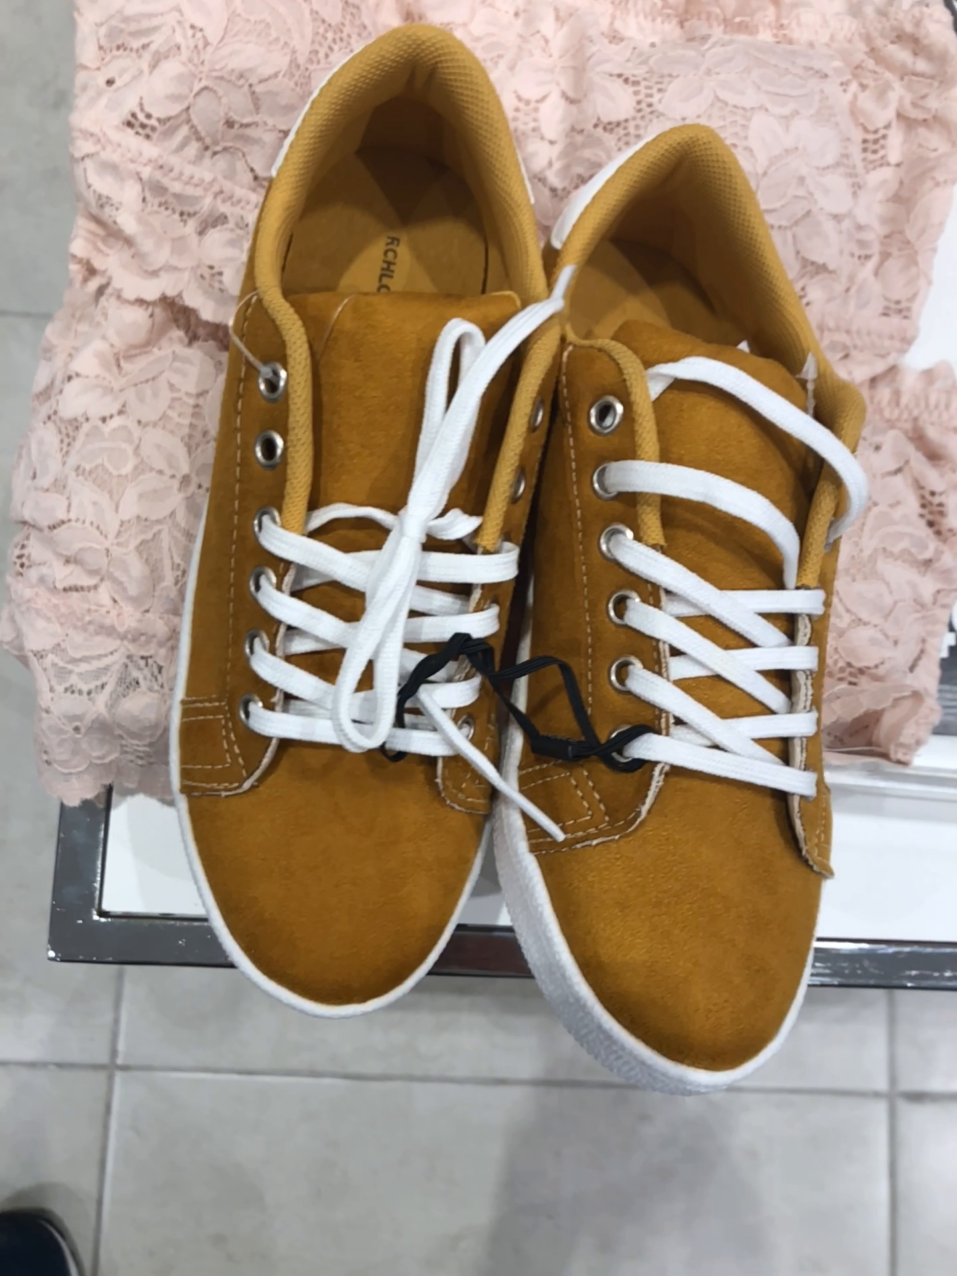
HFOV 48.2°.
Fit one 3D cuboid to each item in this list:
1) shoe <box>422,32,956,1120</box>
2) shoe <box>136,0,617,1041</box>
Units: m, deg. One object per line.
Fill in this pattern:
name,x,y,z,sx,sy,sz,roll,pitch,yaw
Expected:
shoe,0.047,-0.013,0.282,0.100,0.100,0.240,4,72,-17
shoe,-0.027,-0.032,0.272,0.090,0.100,0.240,6,76,-17
